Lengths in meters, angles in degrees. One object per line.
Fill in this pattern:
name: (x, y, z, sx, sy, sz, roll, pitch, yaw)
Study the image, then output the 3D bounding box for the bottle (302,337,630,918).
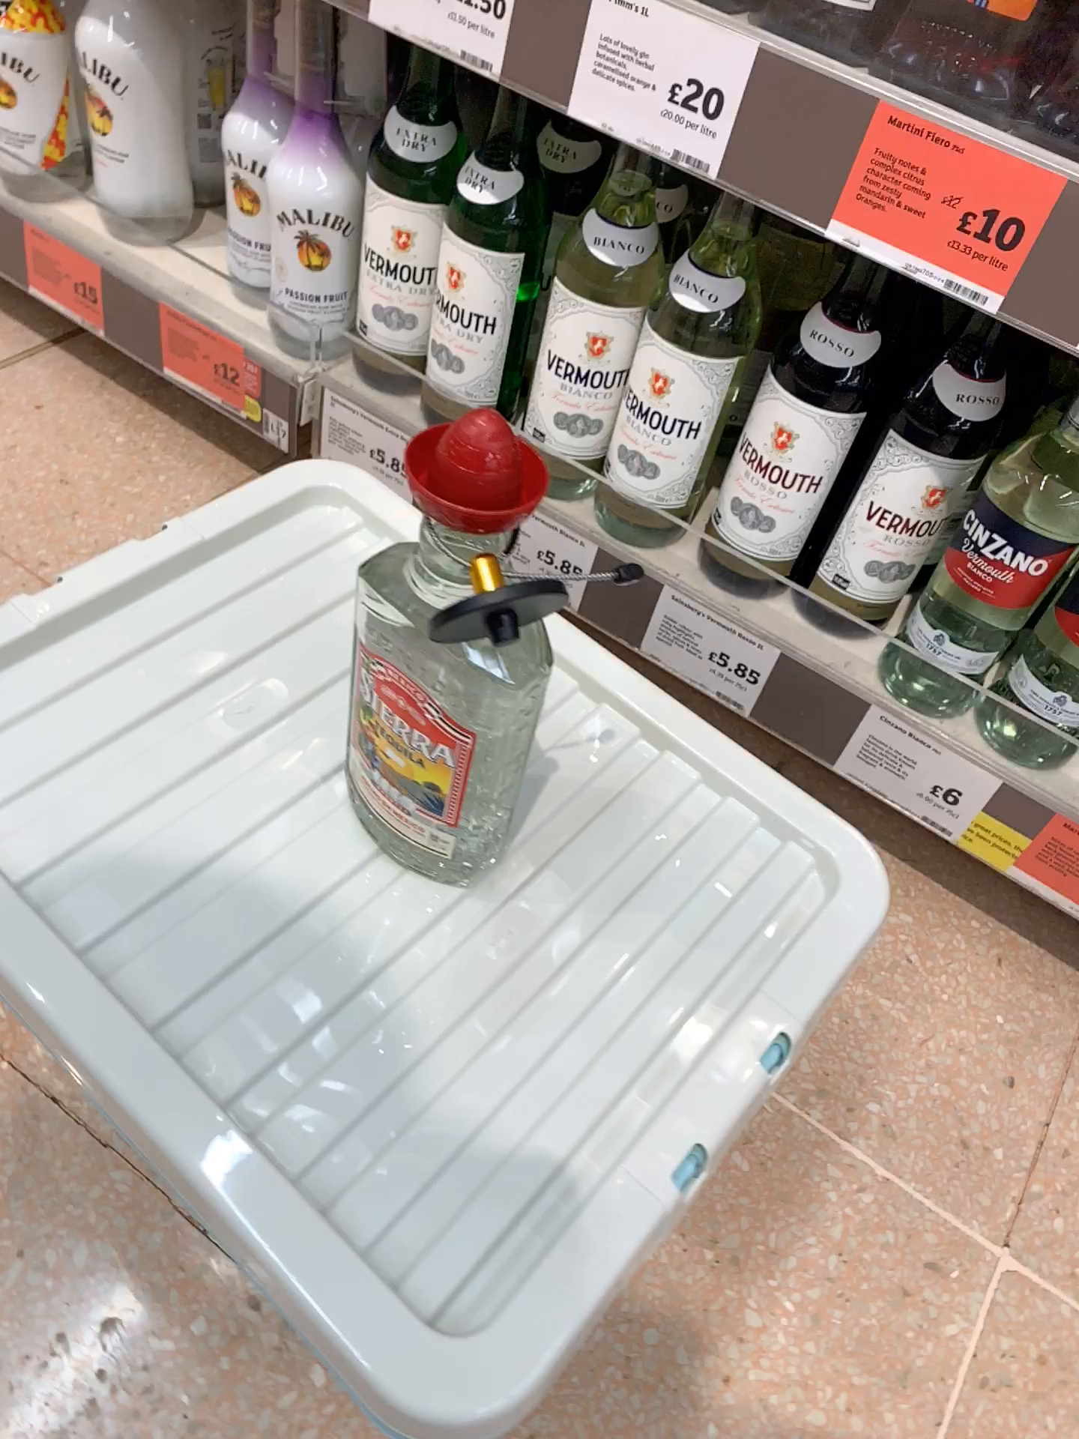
bottle: (-0.045, -0.025, 0.480, 0.103, 0.240, 0.058, 40, 53, 20)
